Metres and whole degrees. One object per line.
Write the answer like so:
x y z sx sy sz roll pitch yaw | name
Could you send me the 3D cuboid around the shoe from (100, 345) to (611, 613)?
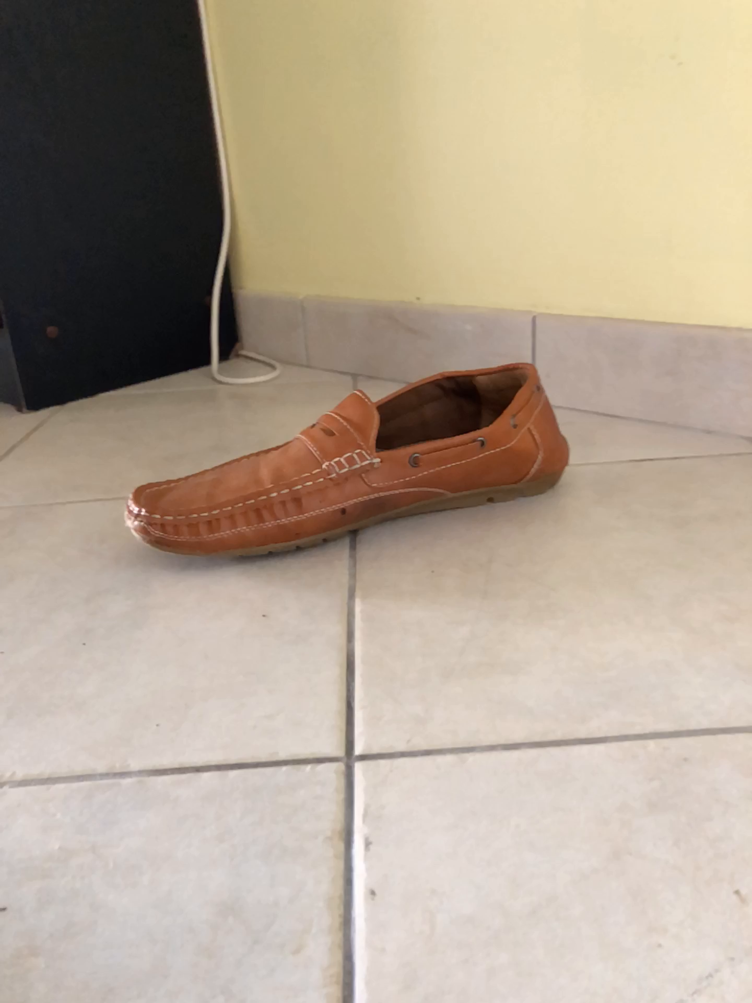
-0.012 -0.028 0.512 0.281 0.070 0.130 -13 25 -20 | shoe
